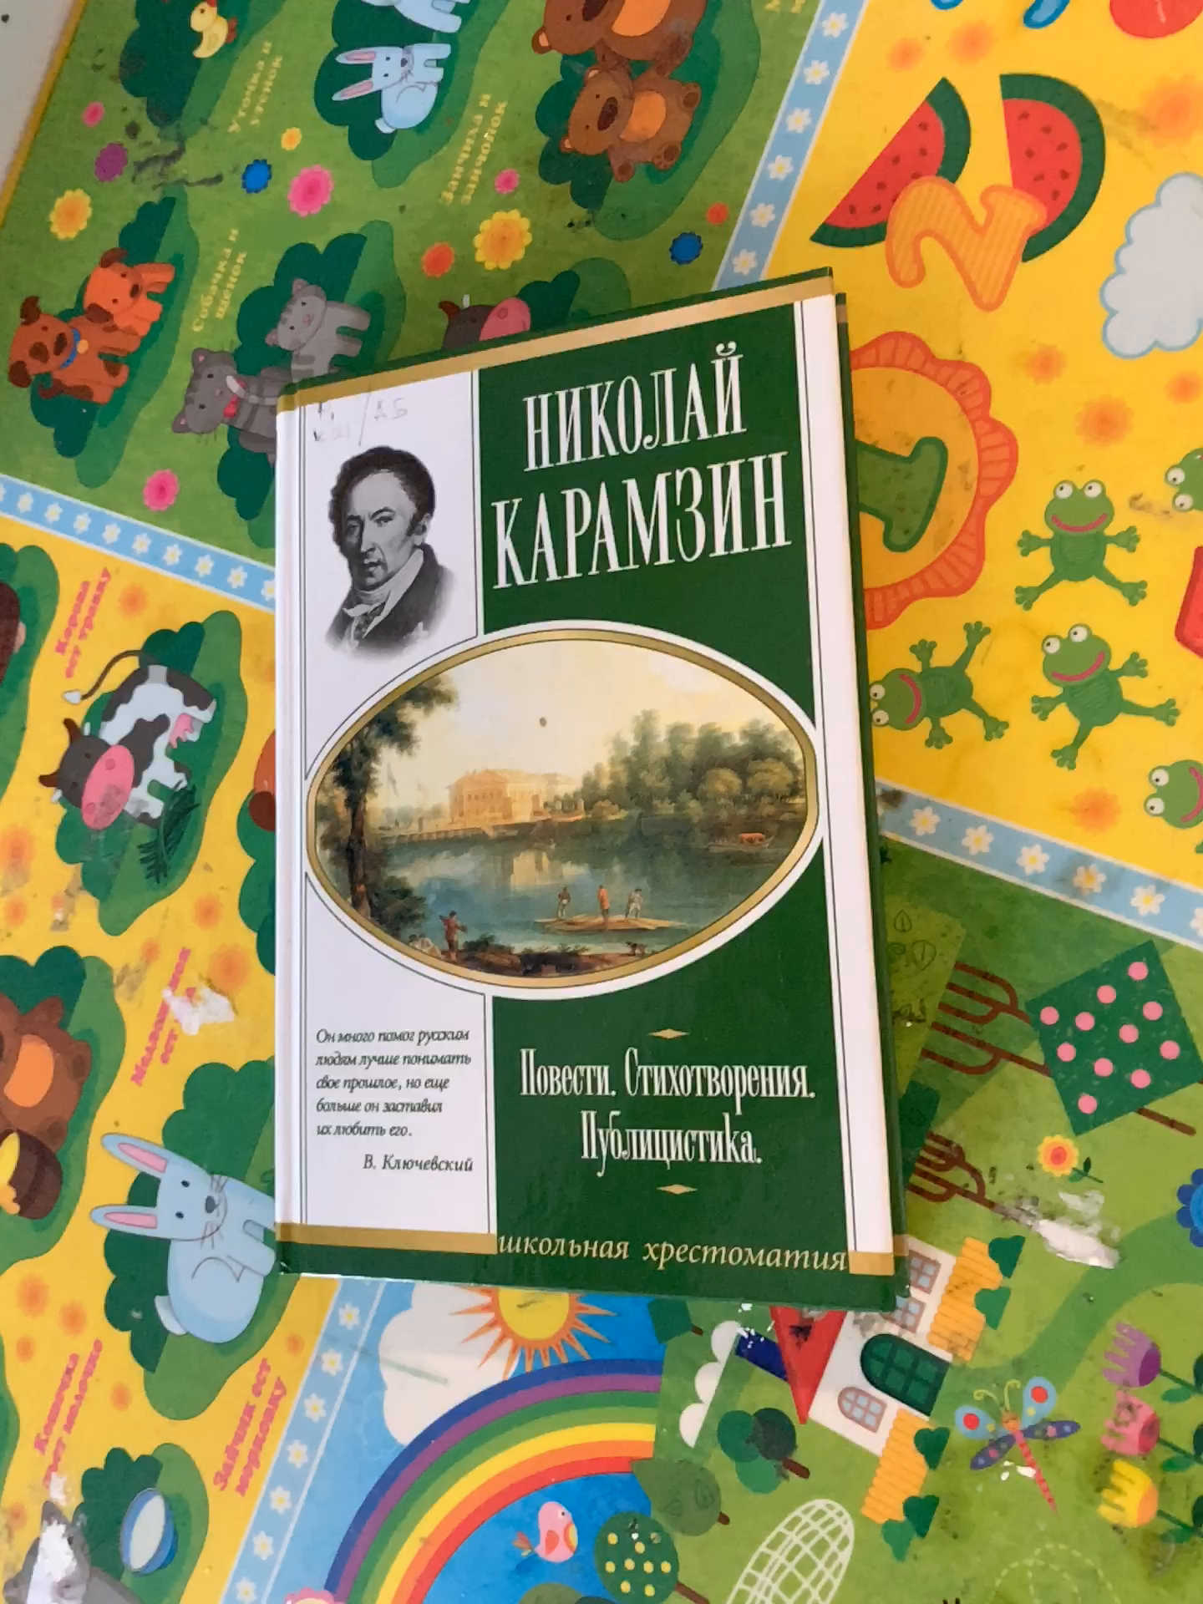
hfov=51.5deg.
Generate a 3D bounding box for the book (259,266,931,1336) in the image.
[{"bbox_3d":[-0.008,0.000,0.260,0.136,0.020,0.197,-5,82,21],"label":"book"}]
